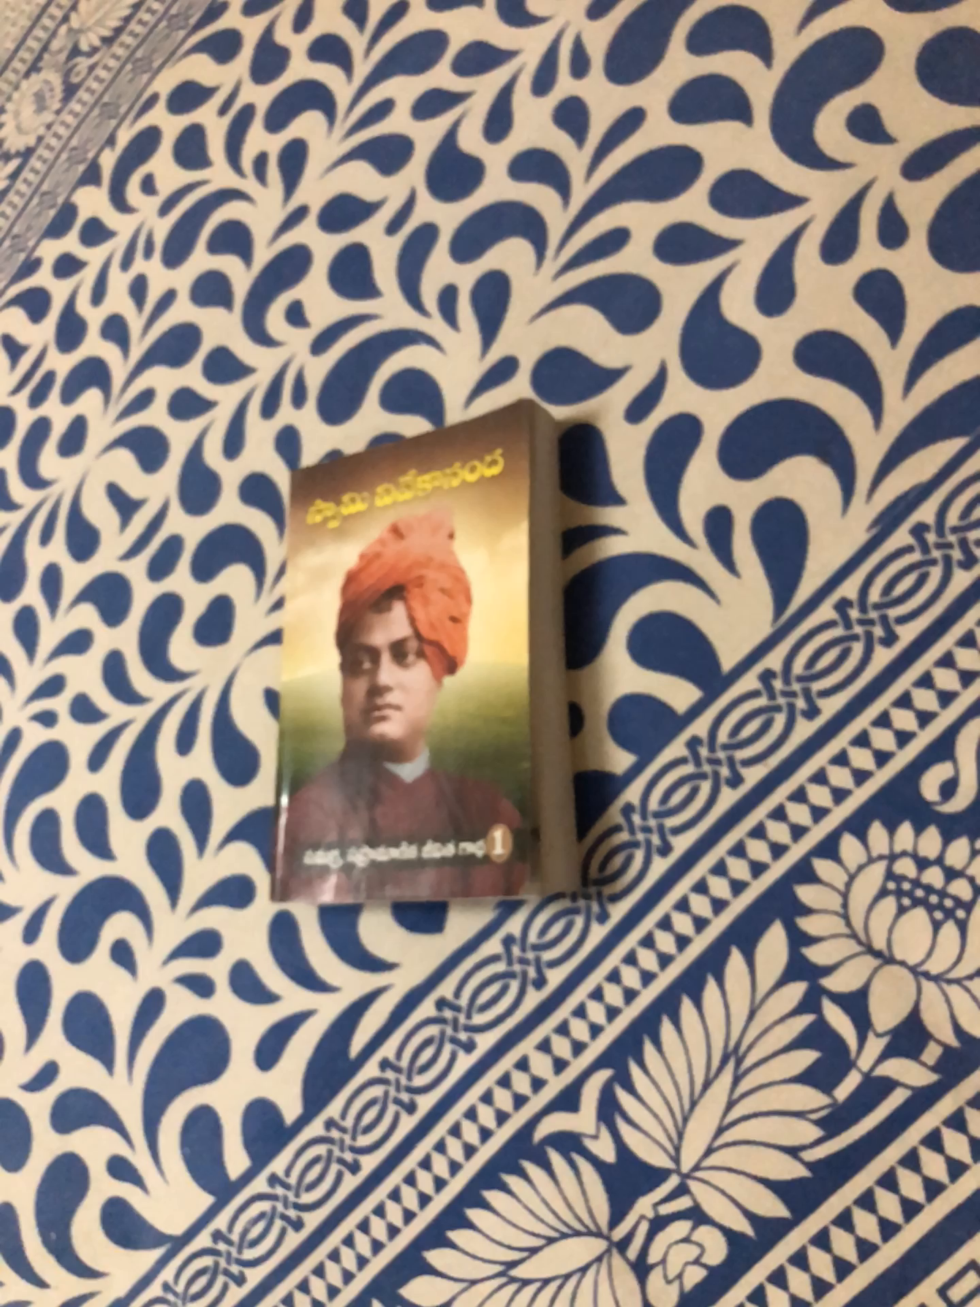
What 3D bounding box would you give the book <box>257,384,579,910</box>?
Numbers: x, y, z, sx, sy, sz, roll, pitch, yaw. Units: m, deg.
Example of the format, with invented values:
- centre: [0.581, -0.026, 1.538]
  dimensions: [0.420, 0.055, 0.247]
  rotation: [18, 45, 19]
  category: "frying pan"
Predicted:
- centre: [-0.035, 0.002, 0.479]
  dimensions: [0.140, 0.030, 0.210]
  rotation: [-9, 74, 30]
  category: "book"
